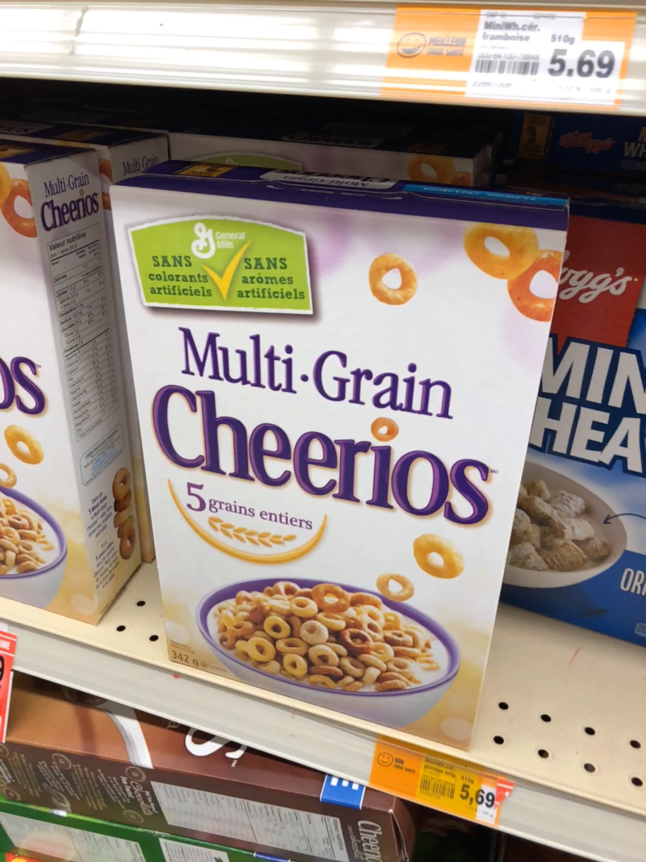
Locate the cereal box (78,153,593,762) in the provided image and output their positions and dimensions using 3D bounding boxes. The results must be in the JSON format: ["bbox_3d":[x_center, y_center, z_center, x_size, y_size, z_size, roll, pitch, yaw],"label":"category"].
[{"bbox_3d":[0.001,0.021,0.359,0.200,0.278,0.060,11,32,16],"label":"cereal box"}]
